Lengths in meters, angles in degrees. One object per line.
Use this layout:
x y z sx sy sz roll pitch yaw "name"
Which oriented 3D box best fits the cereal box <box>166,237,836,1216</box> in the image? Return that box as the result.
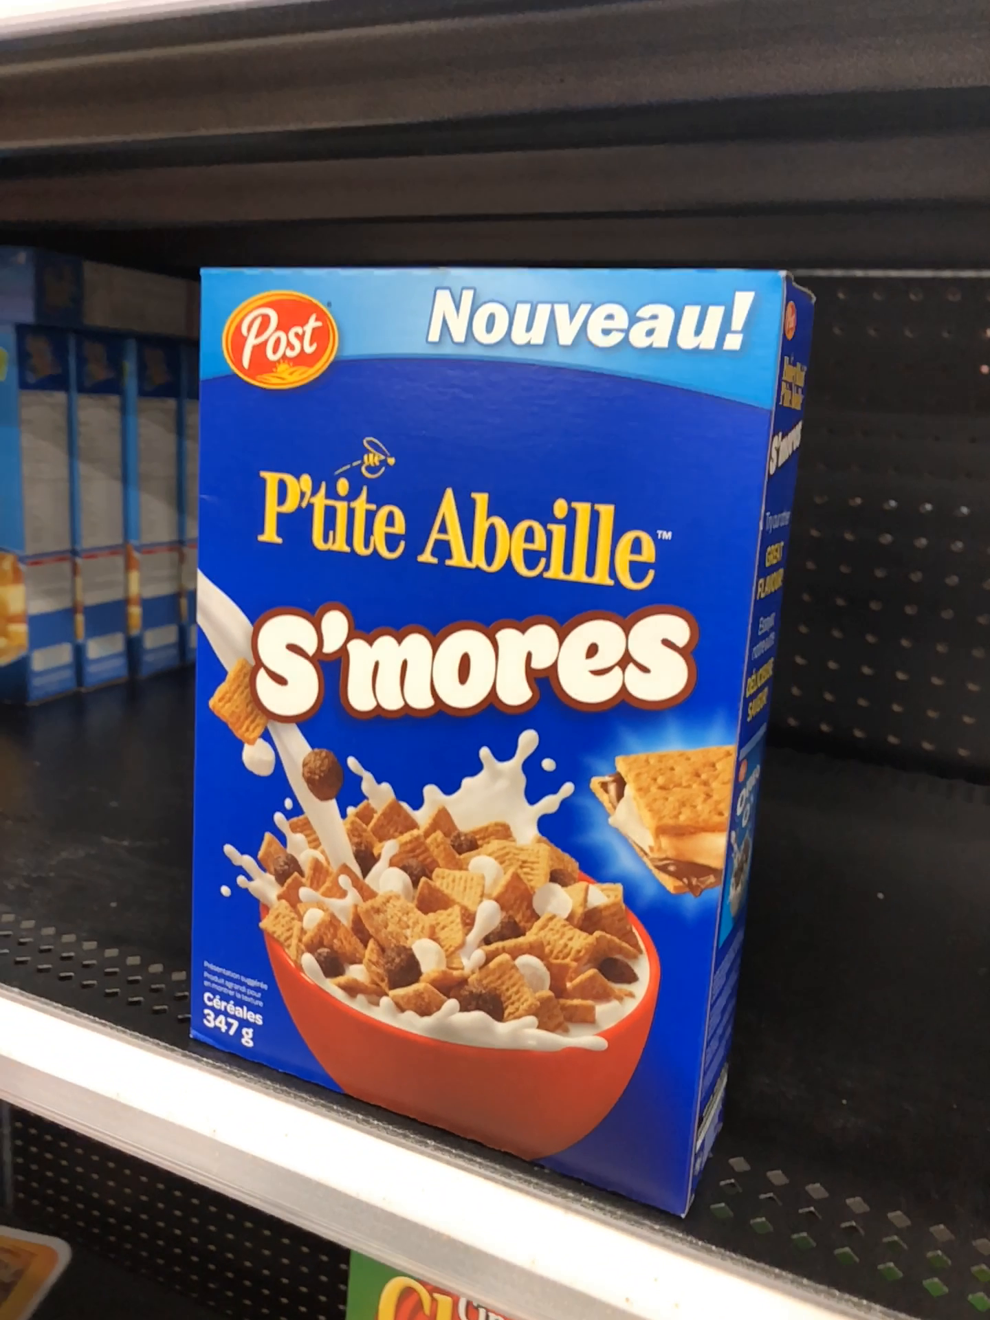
-0.009 0.011 0.369 0.200 0.279 0.060 8 11 23 "cereal box"
